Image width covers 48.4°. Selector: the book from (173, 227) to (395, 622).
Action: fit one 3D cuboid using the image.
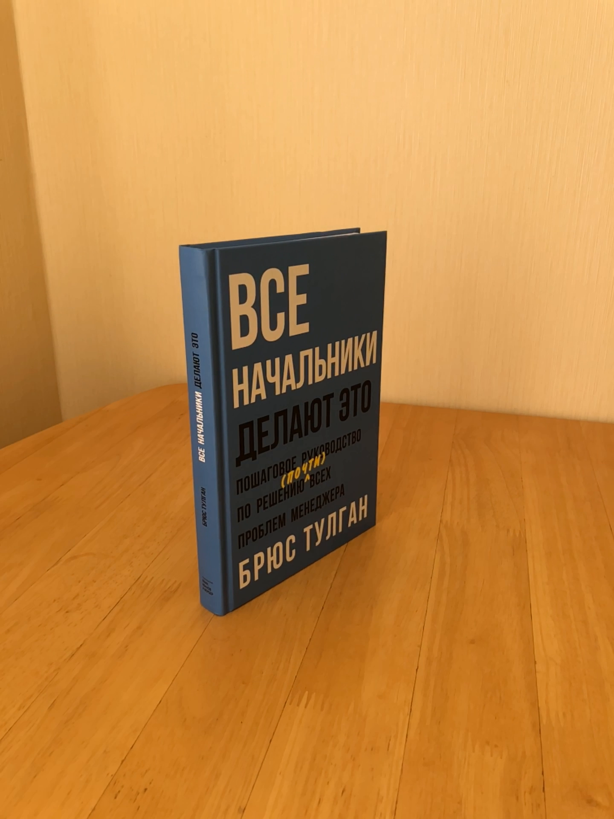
[{"bbox_3d":[-0.006,0.002,0.414,0.025,0.208,0.150,17,25,40],"label":"book"}]
